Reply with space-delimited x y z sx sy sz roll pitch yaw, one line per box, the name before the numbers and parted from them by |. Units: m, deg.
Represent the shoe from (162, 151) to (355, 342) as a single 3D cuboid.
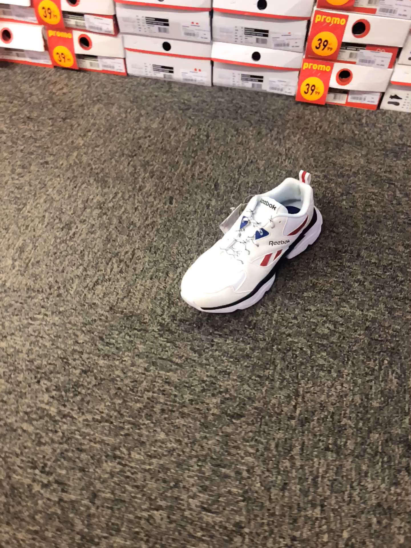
shoe | 0.086 -0.051 0.706 0.113 0.110 0.301 39 64 24
